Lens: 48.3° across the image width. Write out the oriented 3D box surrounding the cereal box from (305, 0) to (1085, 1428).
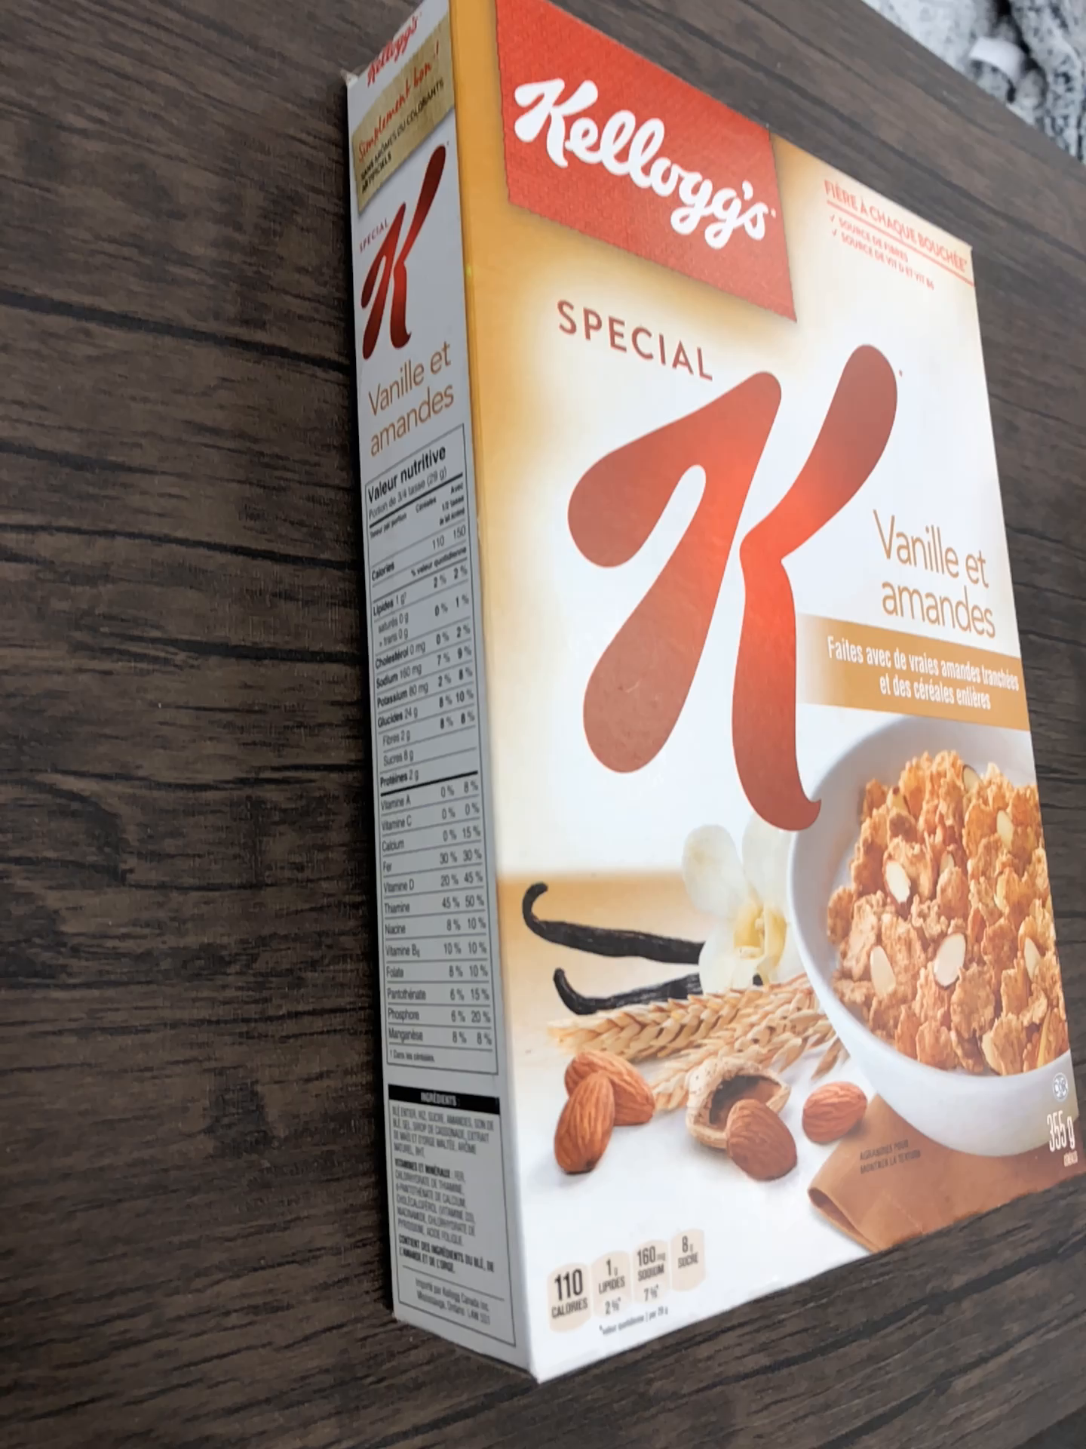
[{"bbox_3d":[0.047,-0.010,0.301,0.201,0.060,0.270,4,80,-40],"label":"cereal box"}]
